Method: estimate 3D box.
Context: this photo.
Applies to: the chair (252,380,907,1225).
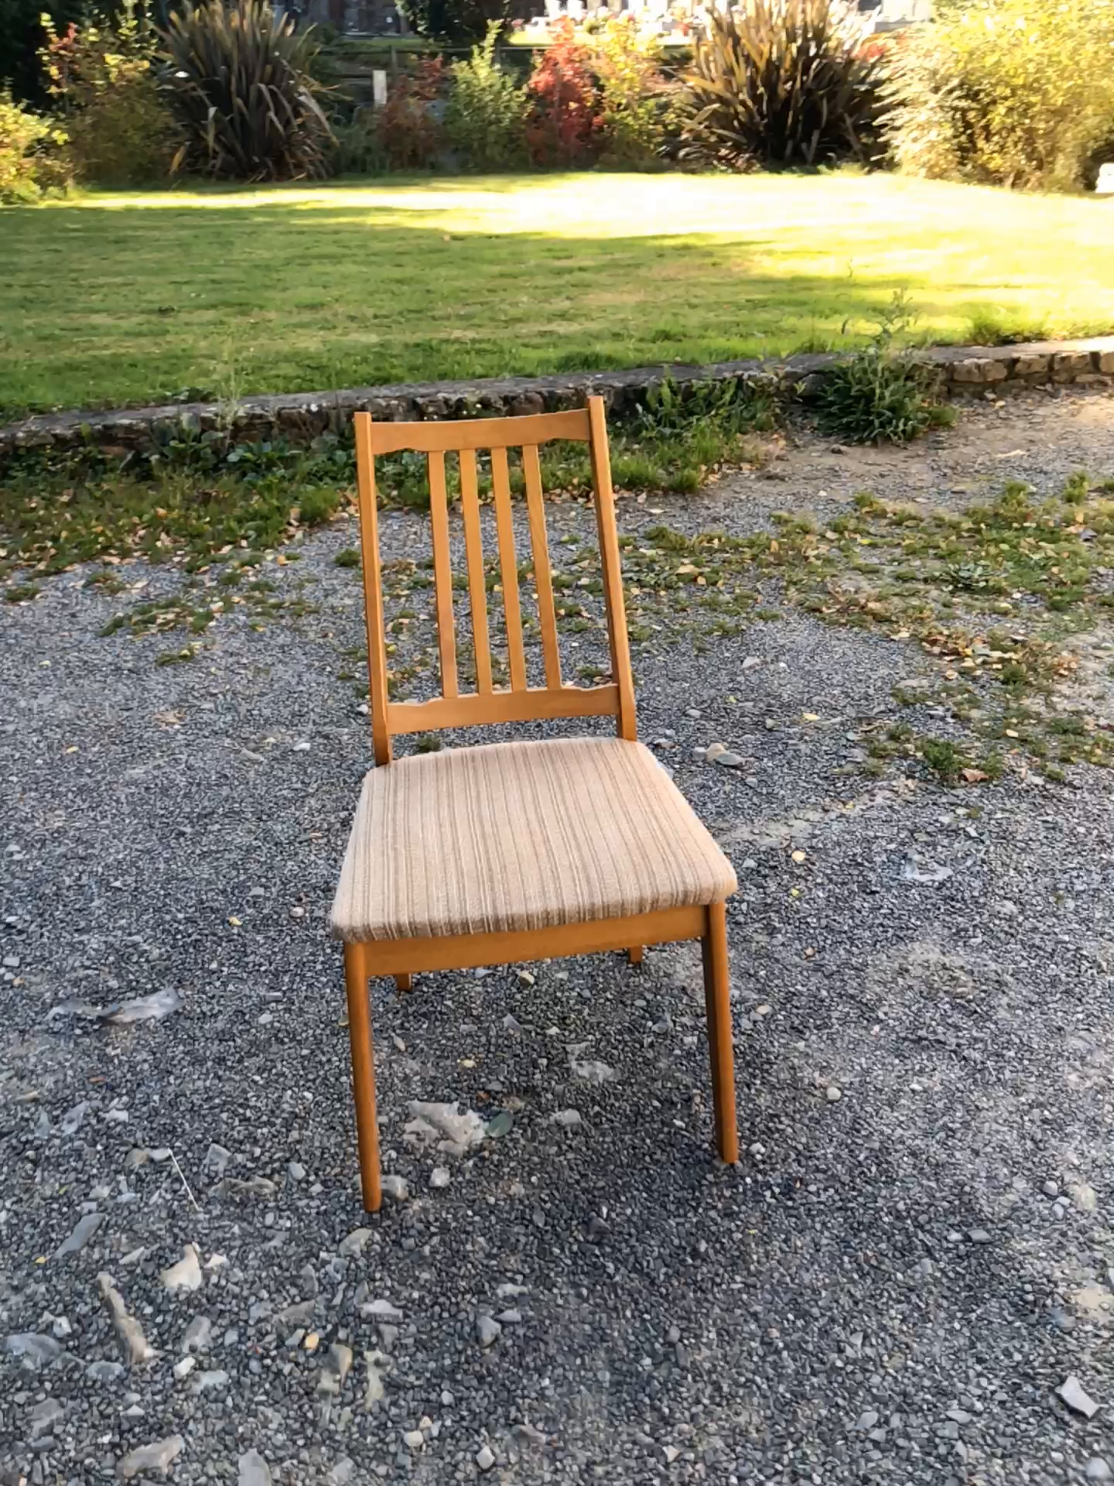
[{"bbox_3d":[-0.013,0.046,1.560,0.600,0.845,0.593,-5,30,-8],"label":"chair"}]
